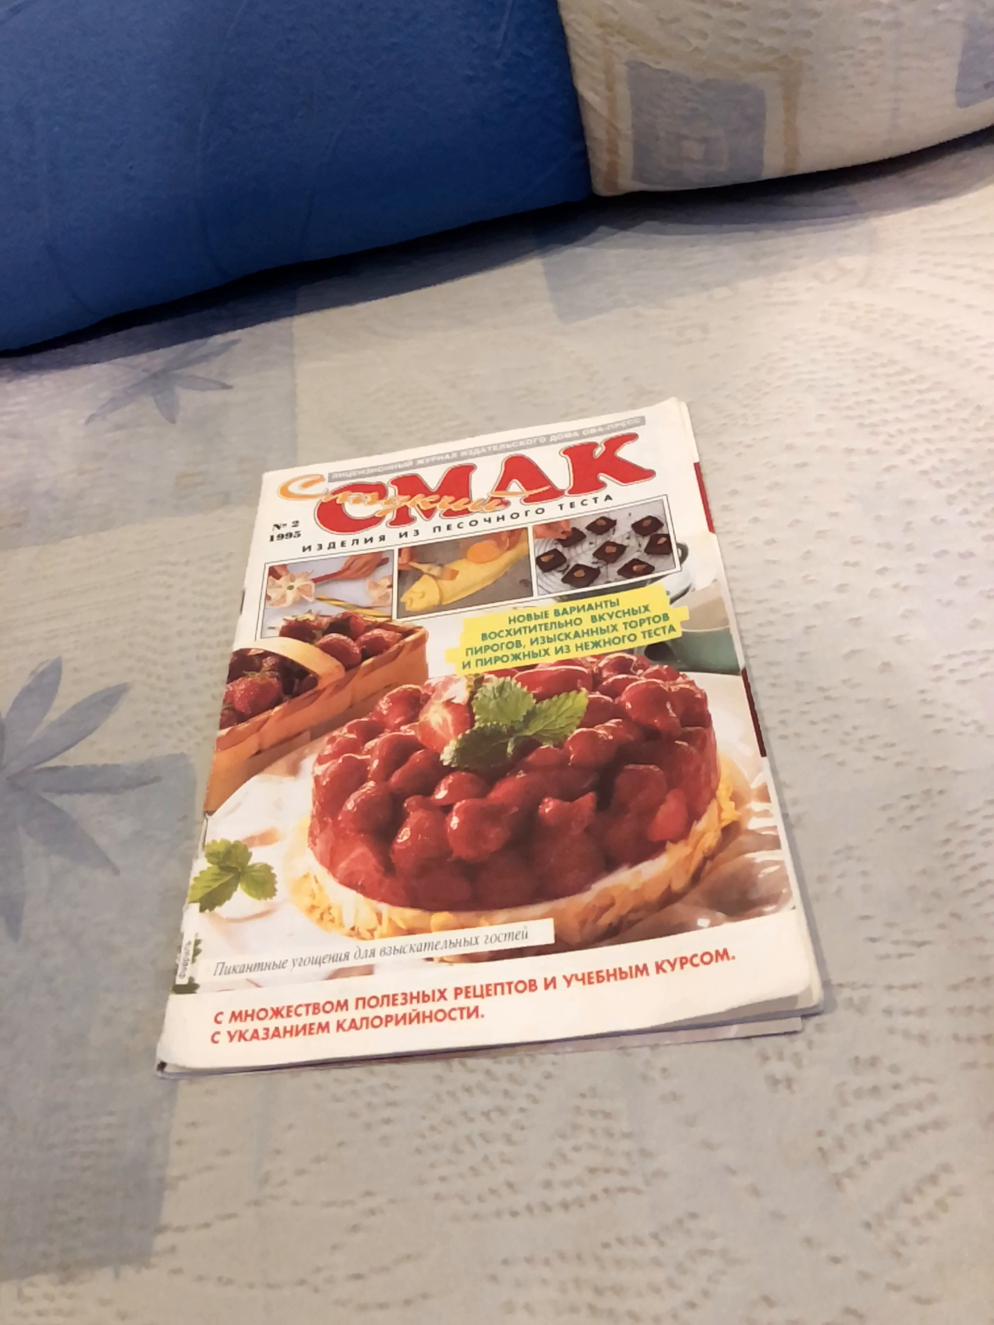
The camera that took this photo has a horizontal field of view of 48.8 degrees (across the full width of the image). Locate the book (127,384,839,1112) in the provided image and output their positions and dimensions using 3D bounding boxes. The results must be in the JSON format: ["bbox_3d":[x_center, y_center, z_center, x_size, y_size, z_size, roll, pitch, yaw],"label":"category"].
[{"bbox_3d":[-0.009,0.008,0.351,0.177,0.020,0.241,-9,49,8],"label":"book"}]
